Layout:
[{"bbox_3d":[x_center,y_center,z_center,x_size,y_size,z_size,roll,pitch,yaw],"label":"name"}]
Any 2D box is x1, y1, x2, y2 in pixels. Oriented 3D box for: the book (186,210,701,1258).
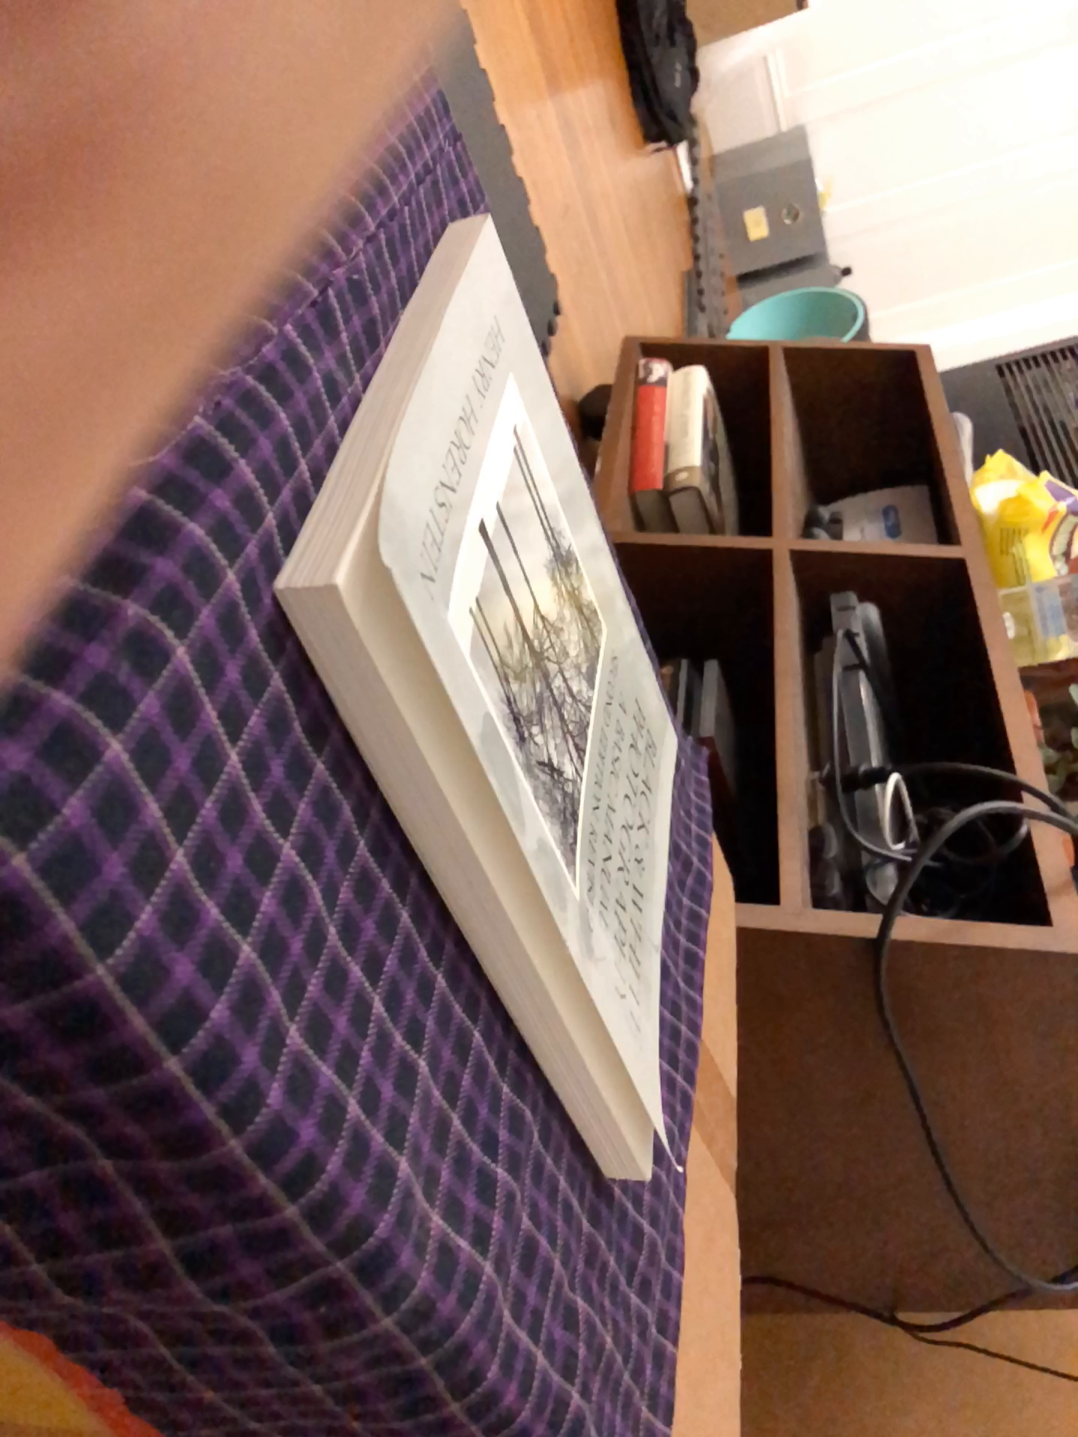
[{"bbox_3d":[0.002,0.006,0.371,0.211,0.030,0.250,-80,153,-48],"label":"book"}]
